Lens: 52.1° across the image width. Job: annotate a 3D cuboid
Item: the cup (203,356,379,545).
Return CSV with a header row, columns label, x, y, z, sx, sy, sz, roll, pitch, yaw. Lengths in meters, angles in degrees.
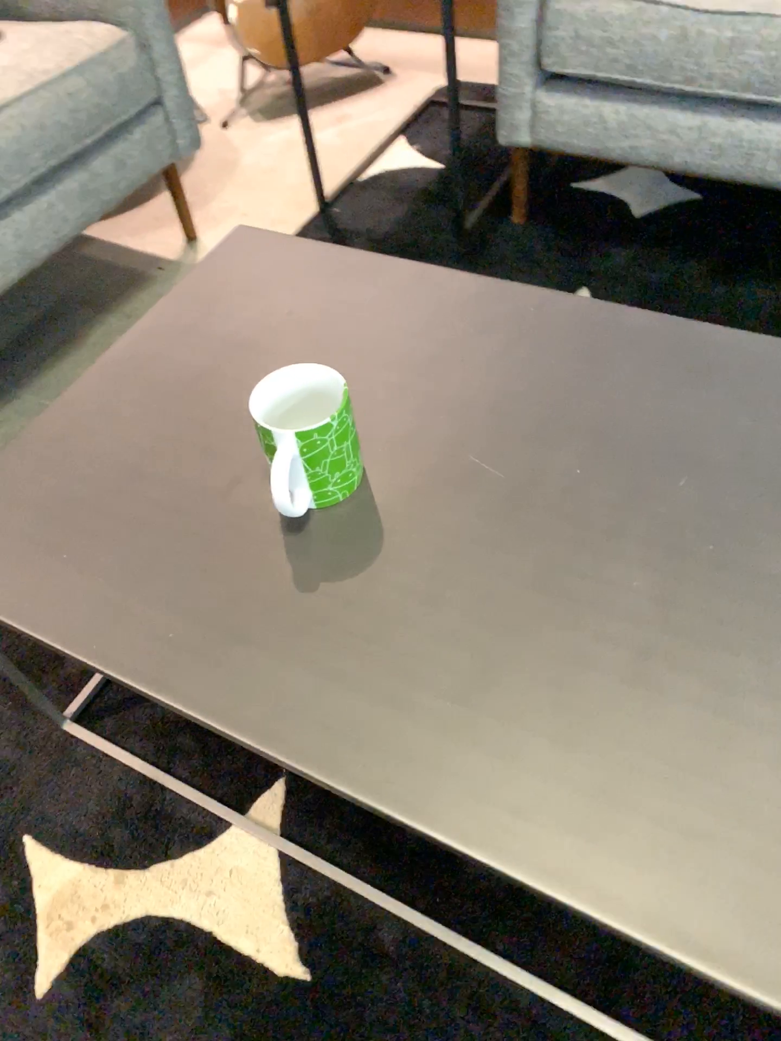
label,x,y,z,sx,sy,sz,roll,pitch,yaw
cup,-0.076,-0.060,0.664,0.100,0.090,0.120,5,53,12
